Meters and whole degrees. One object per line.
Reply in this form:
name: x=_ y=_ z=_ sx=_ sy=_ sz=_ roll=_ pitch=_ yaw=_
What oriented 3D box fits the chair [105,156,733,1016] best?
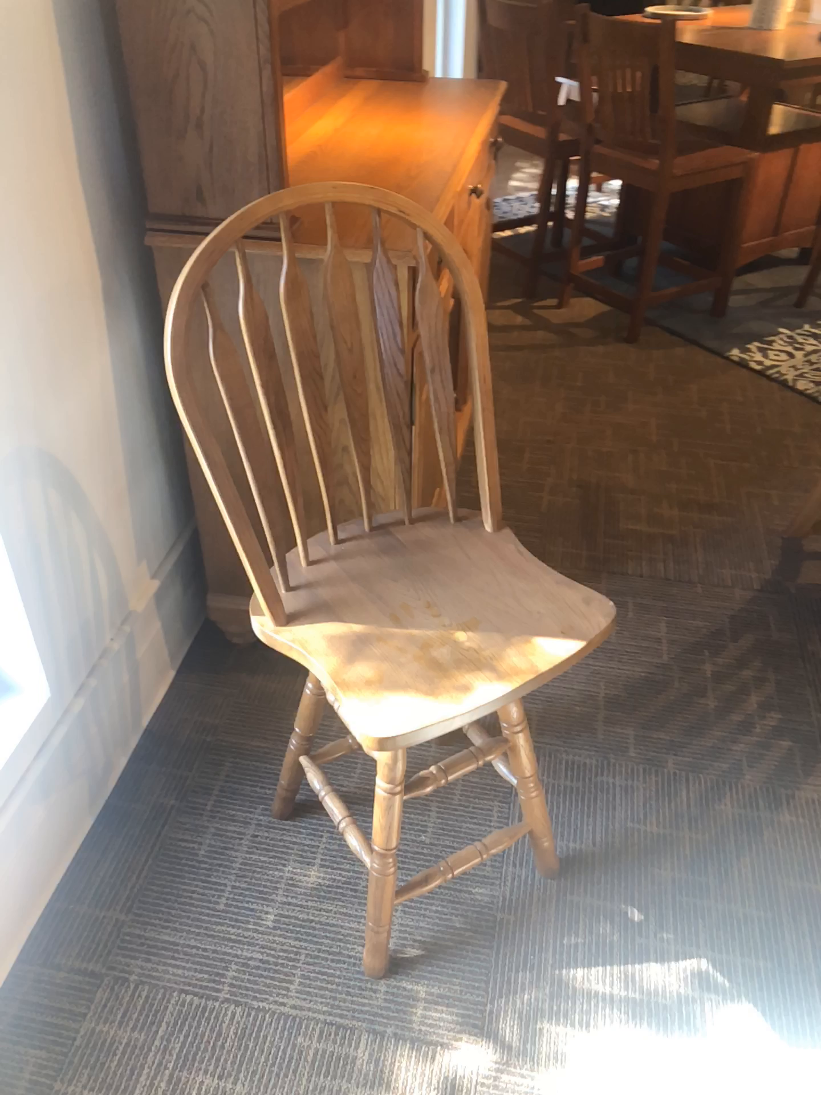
chair: x=-0.016 y=0.066 z=1.308 sx=0.481 sy=1.024 sz=0.542 roll=-22 pitch=42 yaw=-26
